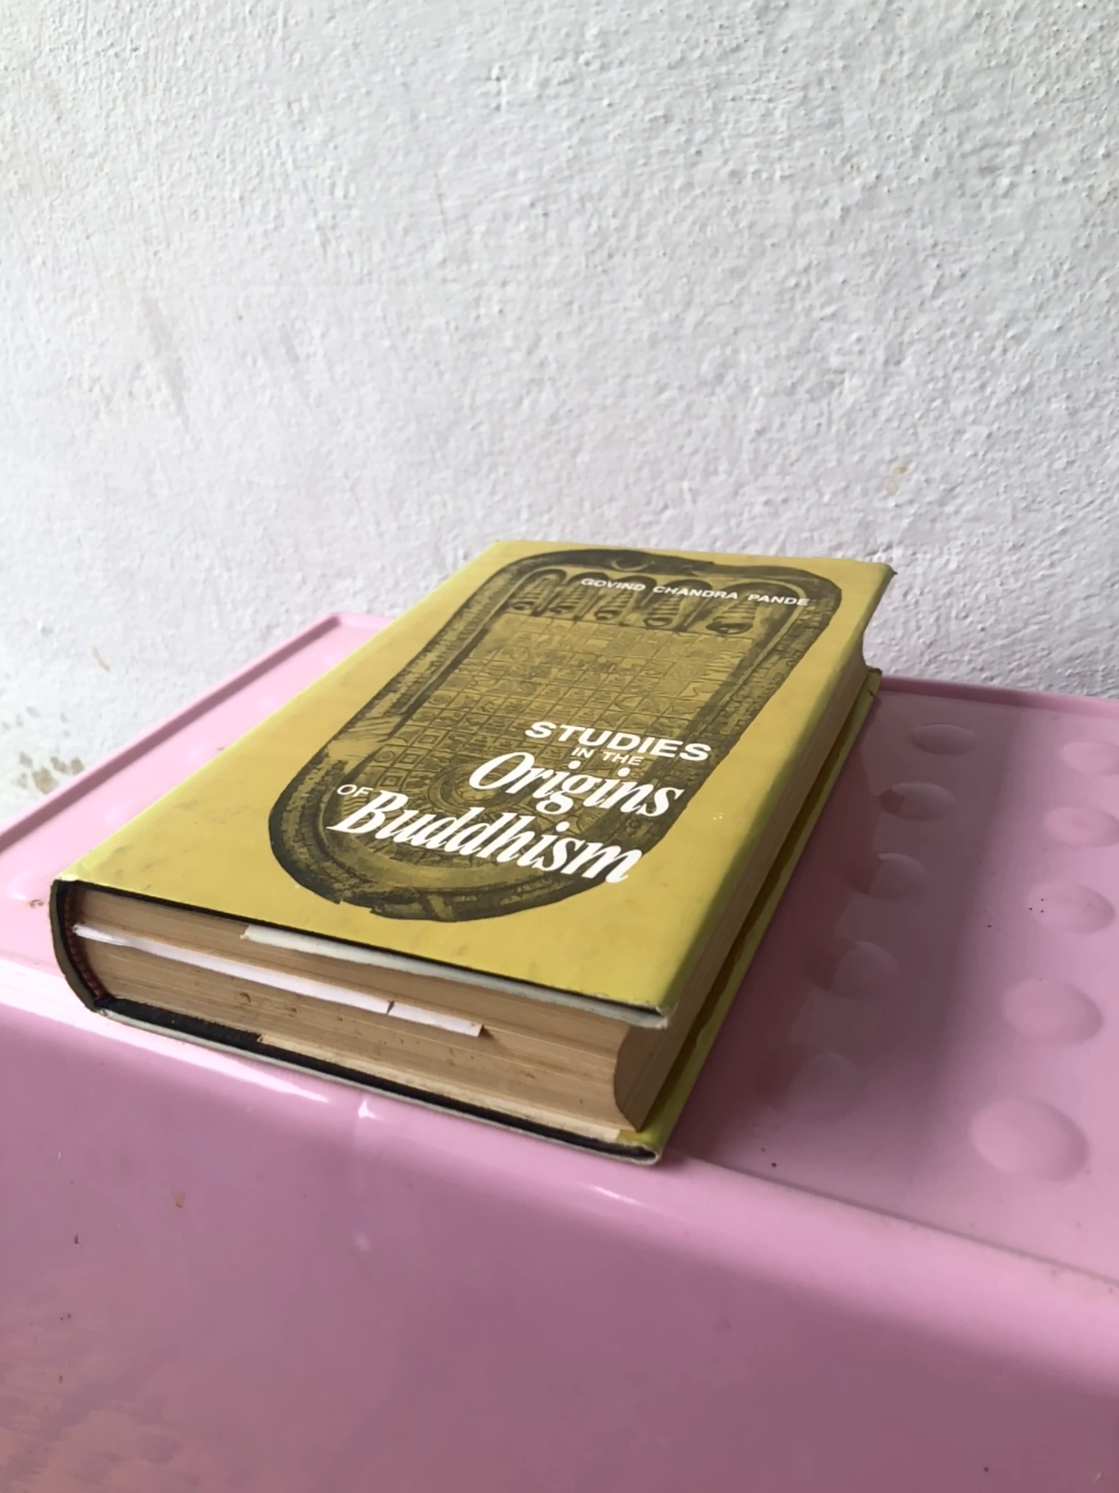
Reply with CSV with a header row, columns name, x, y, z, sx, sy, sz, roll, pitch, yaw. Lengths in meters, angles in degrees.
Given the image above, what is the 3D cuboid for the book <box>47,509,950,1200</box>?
name,x,y,z,sx,sy,sz,roll,pitch,yaw
book,0.009,-0.002,0.342,0.150,0.040,0.241,9,32,23
